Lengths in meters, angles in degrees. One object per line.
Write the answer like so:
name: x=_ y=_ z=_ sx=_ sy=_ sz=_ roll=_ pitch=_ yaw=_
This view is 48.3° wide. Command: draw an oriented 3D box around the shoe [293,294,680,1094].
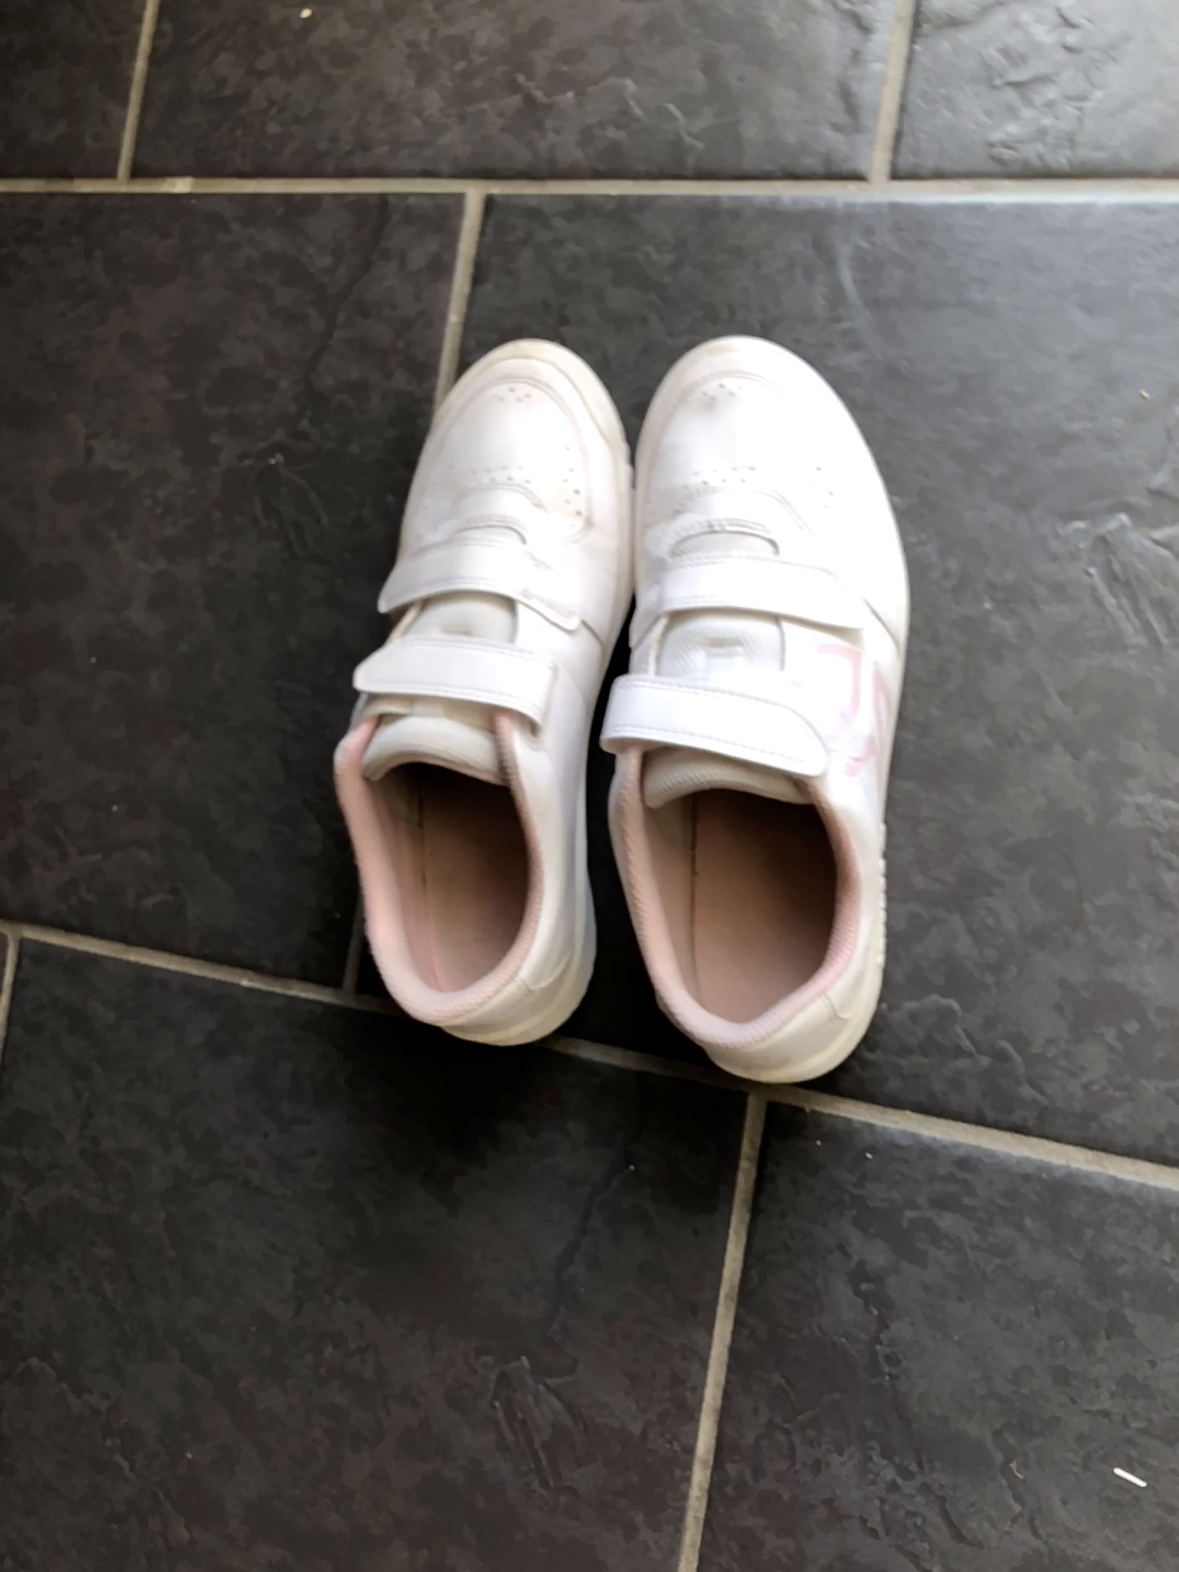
shoe: x=-0.031 y=-0.029 z=0.465 sx=0.095 sy=0.090 sz=0.250 roll=2 pitch=86 yaw=17

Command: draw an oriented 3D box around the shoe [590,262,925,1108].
shoe: x=0.060 y=-0.029 z=0.442 sx=0.095 sy=0.090 sz=0.250 roll=-1 pitch=85 yaw=17
